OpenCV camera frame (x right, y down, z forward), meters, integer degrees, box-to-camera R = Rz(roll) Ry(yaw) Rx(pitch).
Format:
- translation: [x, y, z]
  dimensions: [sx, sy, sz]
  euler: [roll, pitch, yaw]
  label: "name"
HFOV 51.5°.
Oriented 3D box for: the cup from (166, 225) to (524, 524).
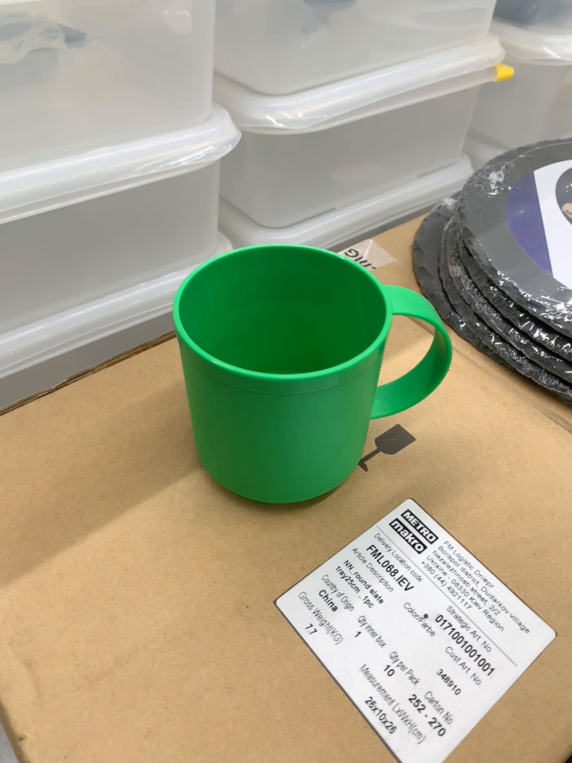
- translation: [0.013, -0.005, 0.221]
  dimensions: [0.105, 0.069, 0.076]
  euler: [-5, 45, -6]
  label: "cup"
